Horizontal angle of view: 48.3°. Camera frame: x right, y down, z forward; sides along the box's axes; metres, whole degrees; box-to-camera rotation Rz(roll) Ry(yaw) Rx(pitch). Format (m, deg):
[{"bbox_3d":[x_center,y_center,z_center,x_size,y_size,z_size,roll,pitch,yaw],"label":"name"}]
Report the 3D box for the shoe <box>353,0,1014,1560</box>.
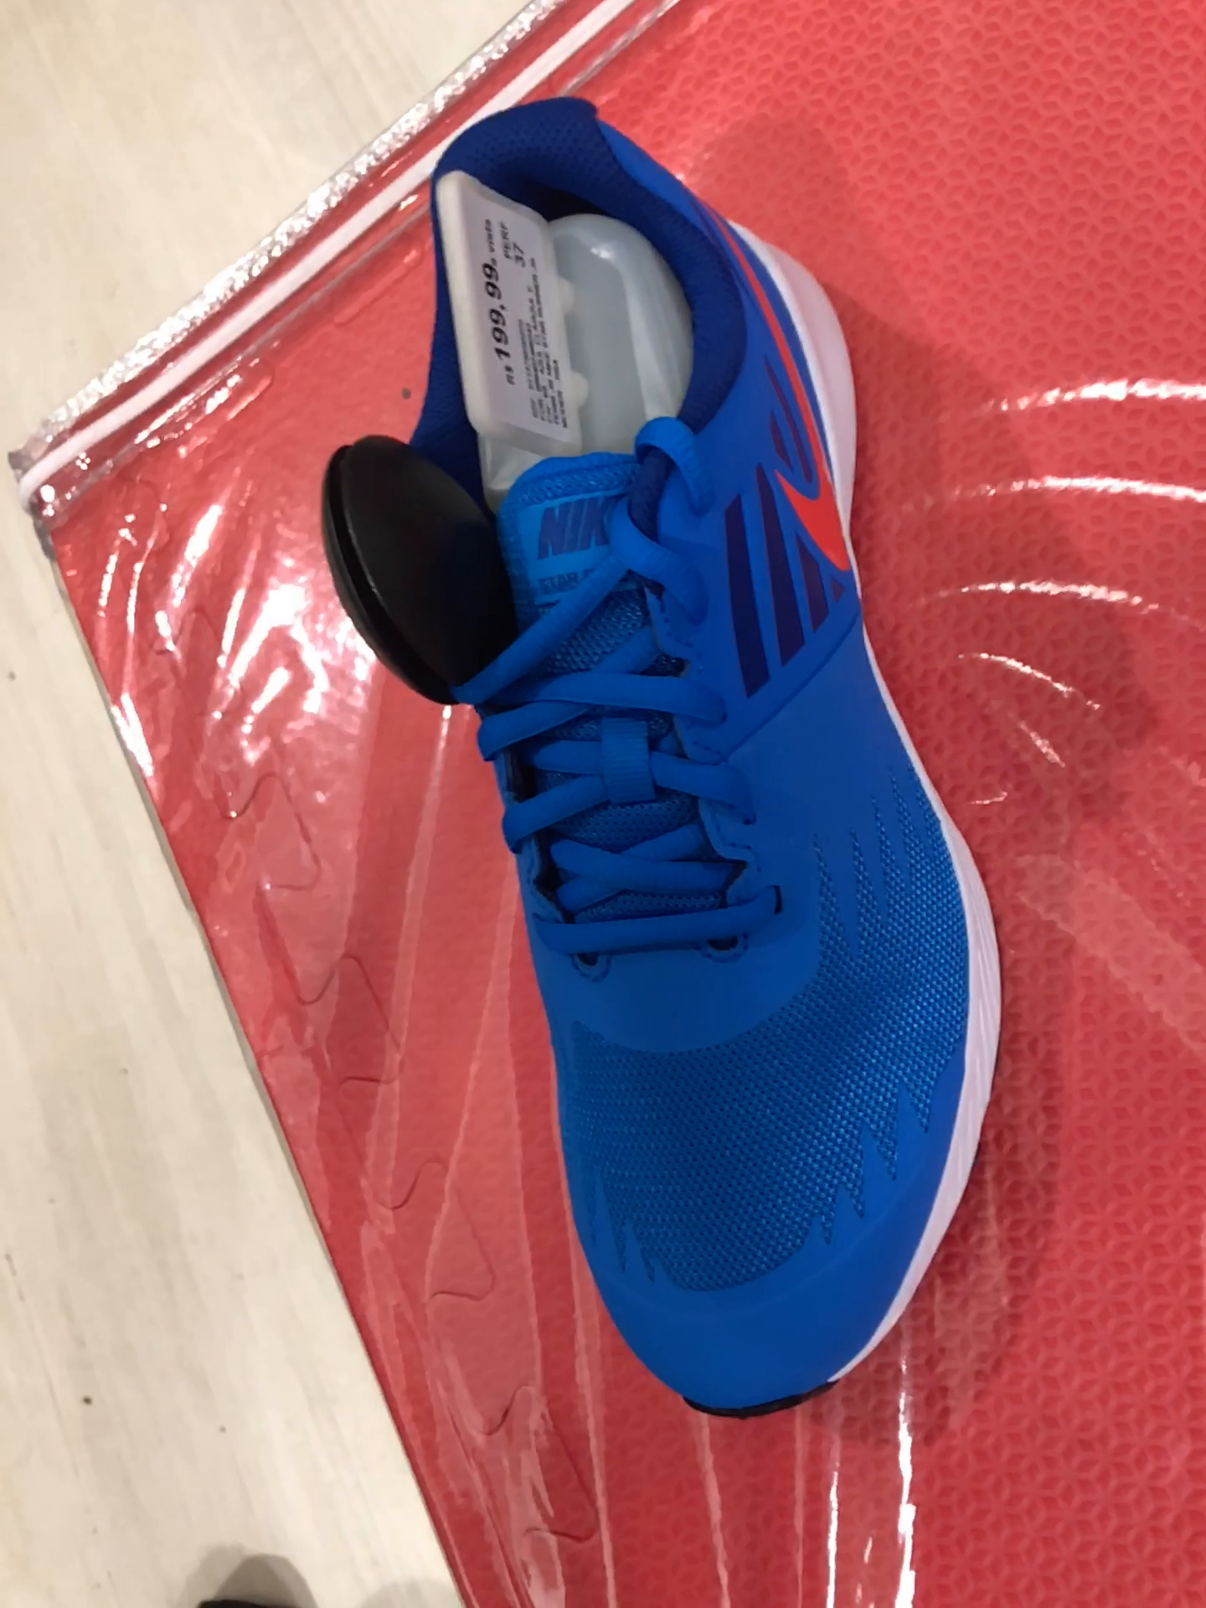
[{"bbox_3d":[0.018,-0.013,0.288,0.100,0.100,0.280,-6,80,21],"label":"shoe"}]
